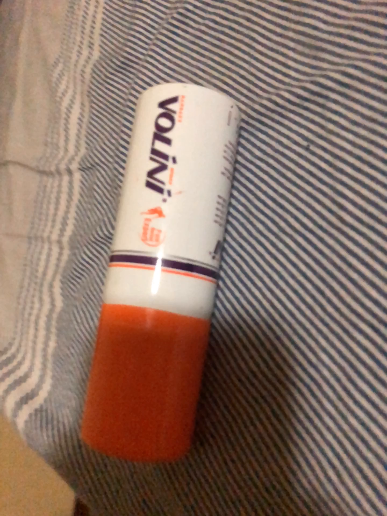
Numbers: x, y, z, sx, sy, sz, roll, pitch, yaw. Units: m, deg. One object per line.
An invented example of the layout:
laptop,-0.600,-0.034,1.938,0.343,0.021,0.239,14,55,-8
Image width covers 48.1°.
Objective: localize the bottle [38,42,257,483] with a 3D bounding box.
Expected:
bottle,-0.009,-0.002,0.139,0.040,0.040,0.120,7,81,14
